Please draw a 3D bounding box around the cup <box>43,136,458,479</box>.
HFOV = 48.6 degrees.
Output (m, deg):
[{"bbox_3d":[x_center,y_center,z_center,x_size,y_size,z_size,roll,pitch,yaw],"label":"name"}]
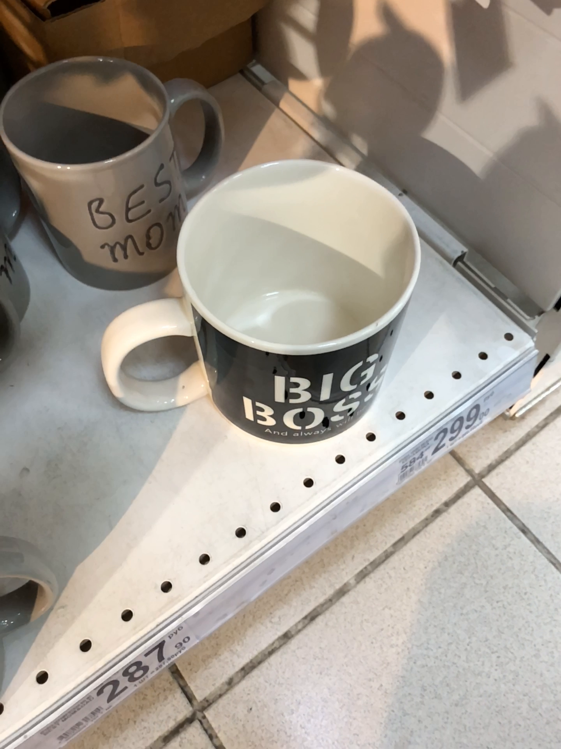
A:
[{"bbox_3d":[-0.022,-0.035,0.363,0.188,0.122,0.128,-8,61,-5],"label":"cup"}]
